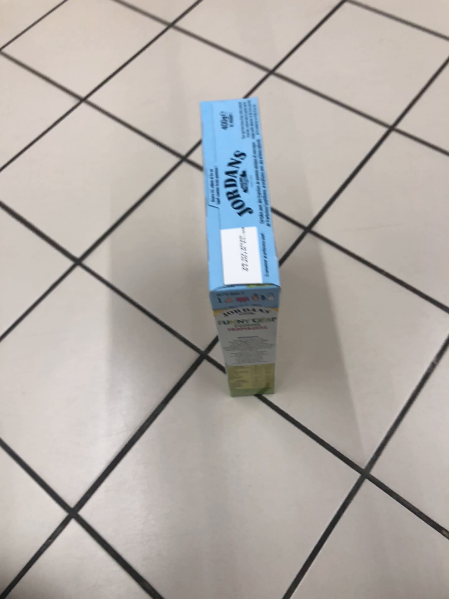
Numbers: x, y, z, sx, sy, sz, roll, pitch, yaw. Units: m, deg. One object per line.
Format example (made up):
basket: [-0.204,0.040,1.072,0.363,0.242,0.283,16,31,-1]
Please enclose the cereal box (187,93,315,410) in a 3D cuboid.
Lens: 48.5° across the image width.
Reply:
cereal box: [0.022,-0.024,0.445,0.070,0.229,0.181,-6,63,2]
